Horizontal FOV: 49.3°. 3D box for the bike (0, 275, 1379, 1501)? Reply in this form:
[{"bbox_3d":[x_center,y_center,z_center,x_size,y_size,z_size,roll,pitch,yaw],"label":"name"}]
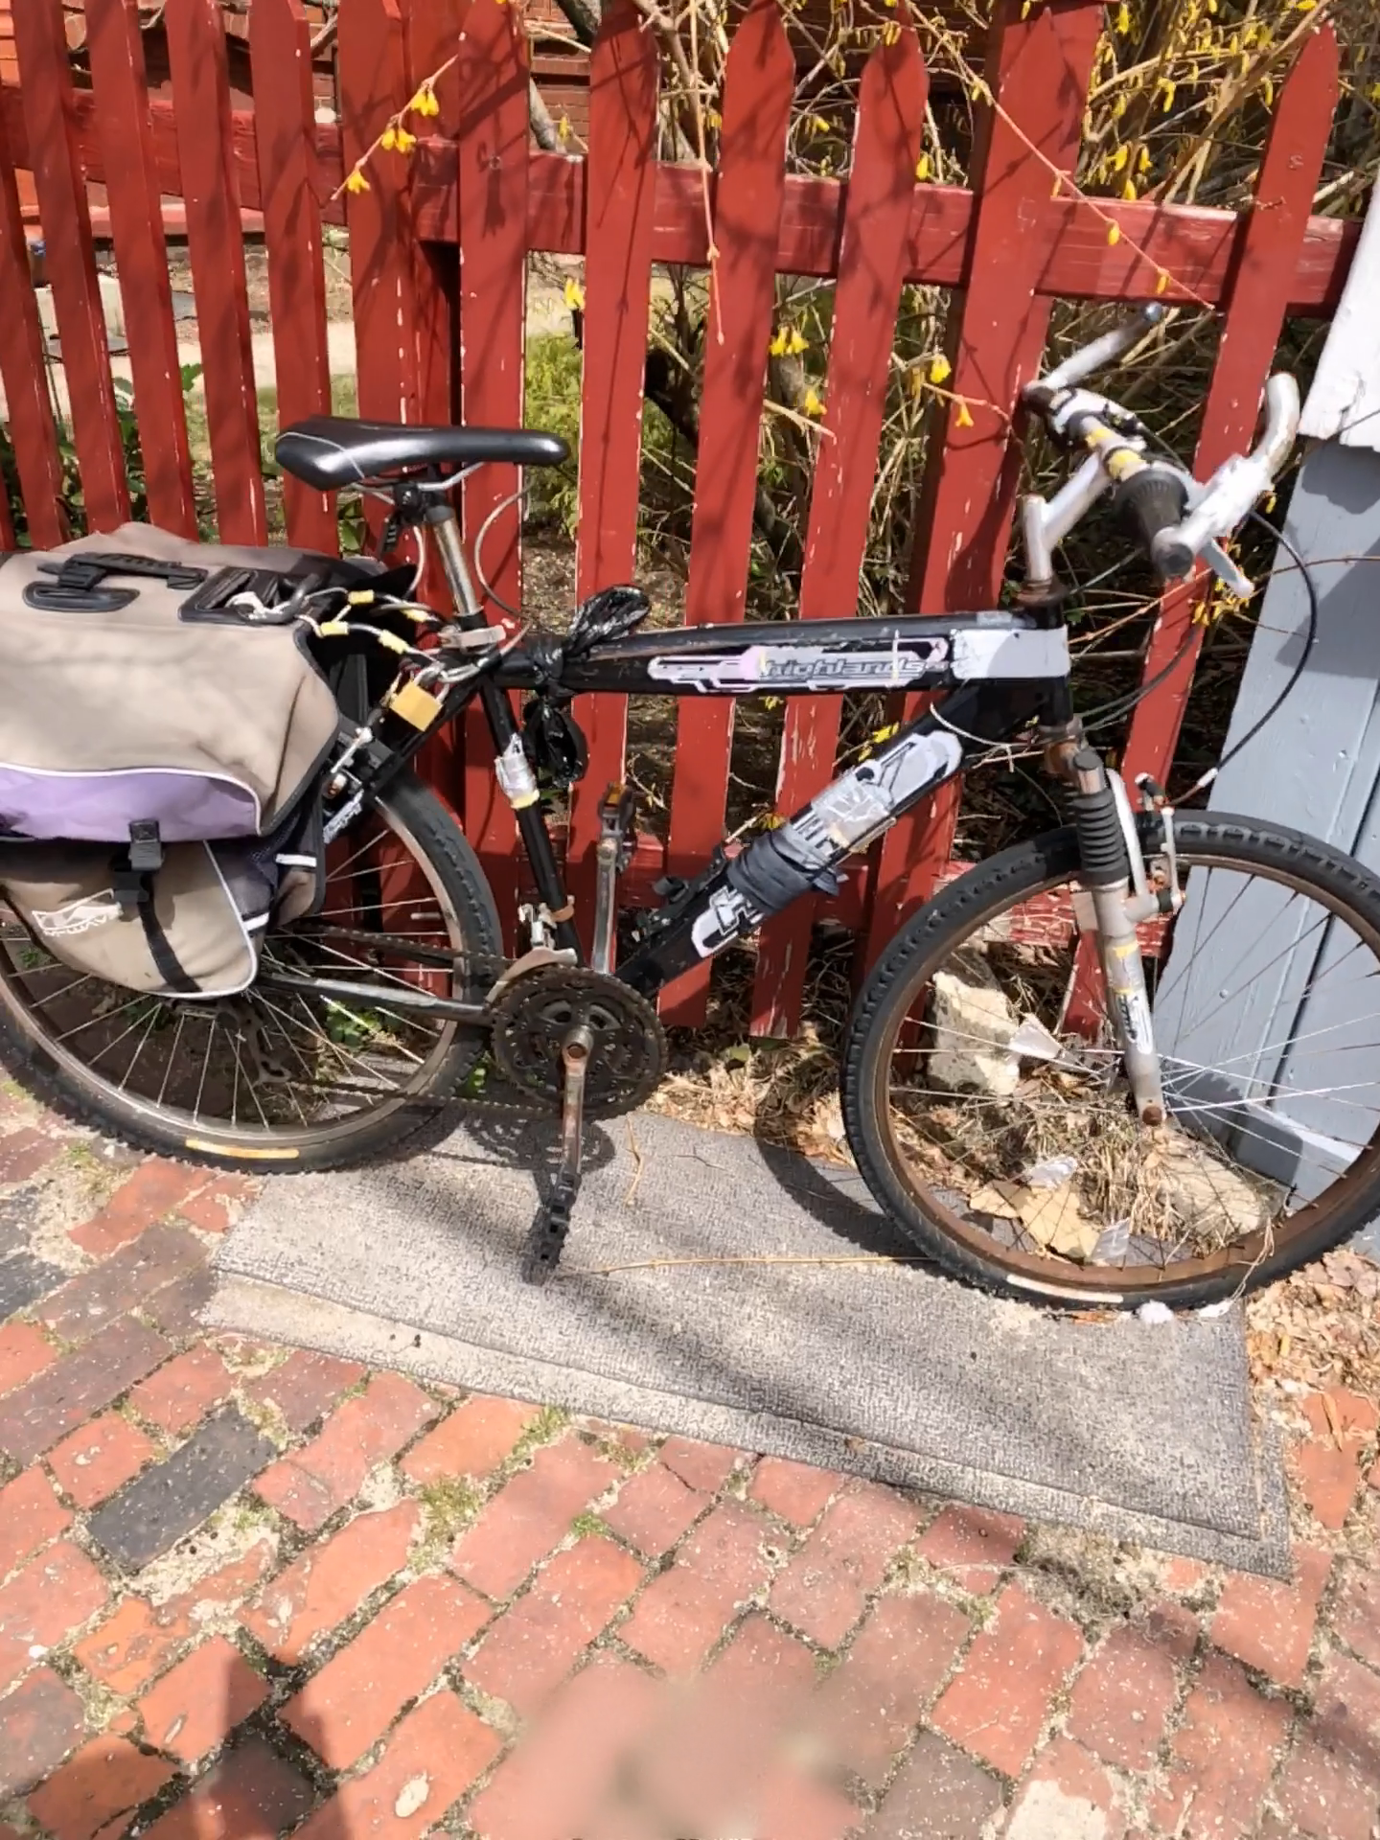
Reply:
[{"bbox_3d":[-0.012,-0.076,1.659,1.724,1.000,0.676,6,30,4],"label":"bike"}]
